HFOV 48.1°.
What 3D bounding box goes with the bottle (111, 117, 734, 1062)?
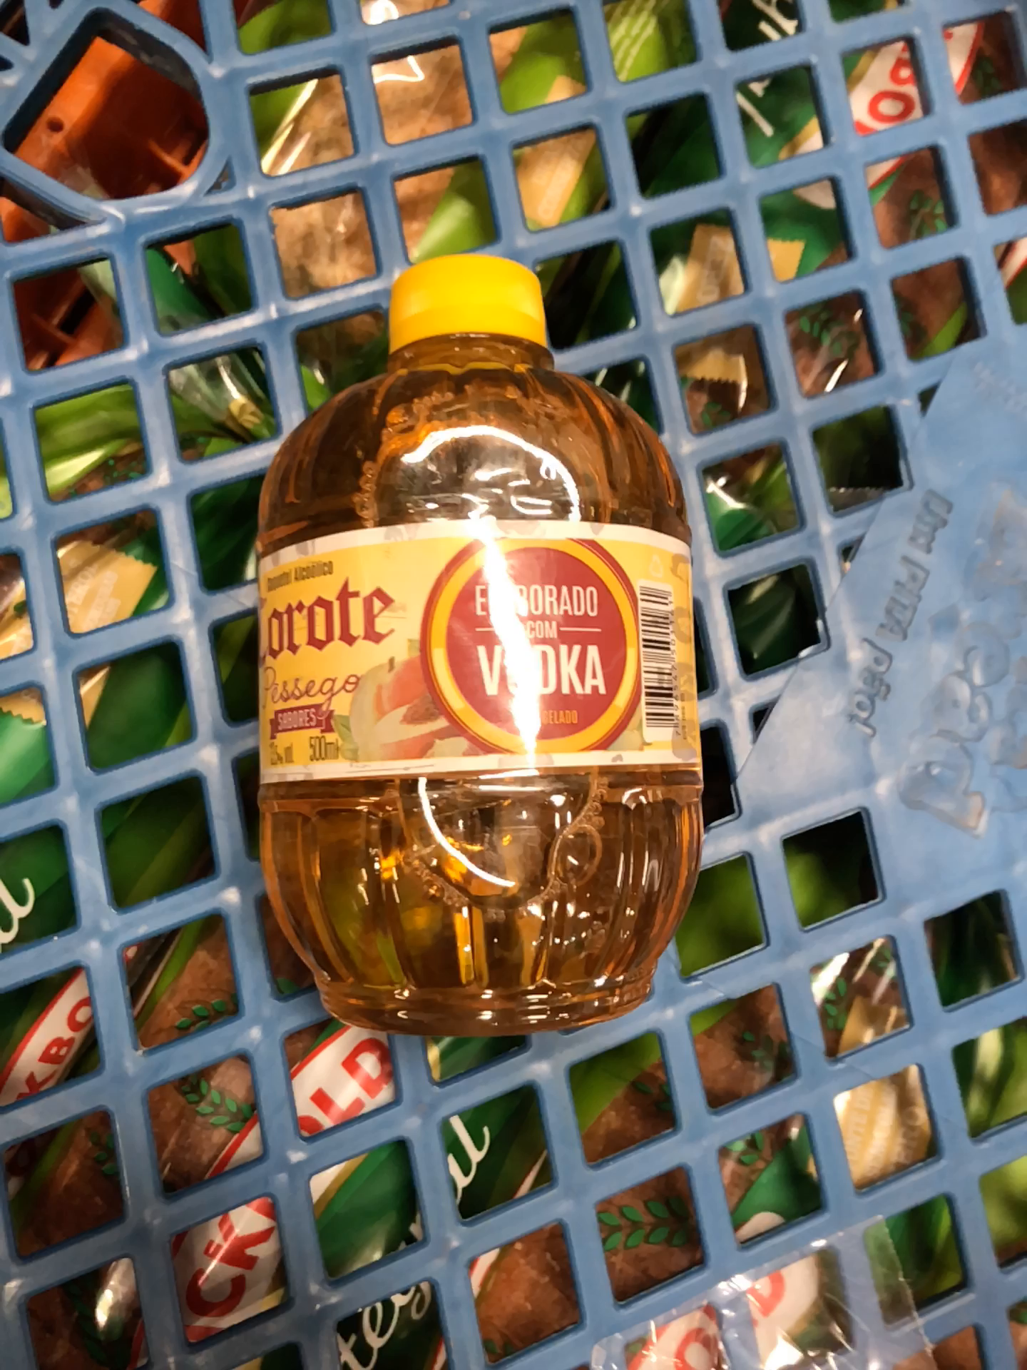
[{"bbox_3d":[-0.014,-0.010,0.206,0.080,0.070,0.130,-5,85,27],"label":"bottle"}]
